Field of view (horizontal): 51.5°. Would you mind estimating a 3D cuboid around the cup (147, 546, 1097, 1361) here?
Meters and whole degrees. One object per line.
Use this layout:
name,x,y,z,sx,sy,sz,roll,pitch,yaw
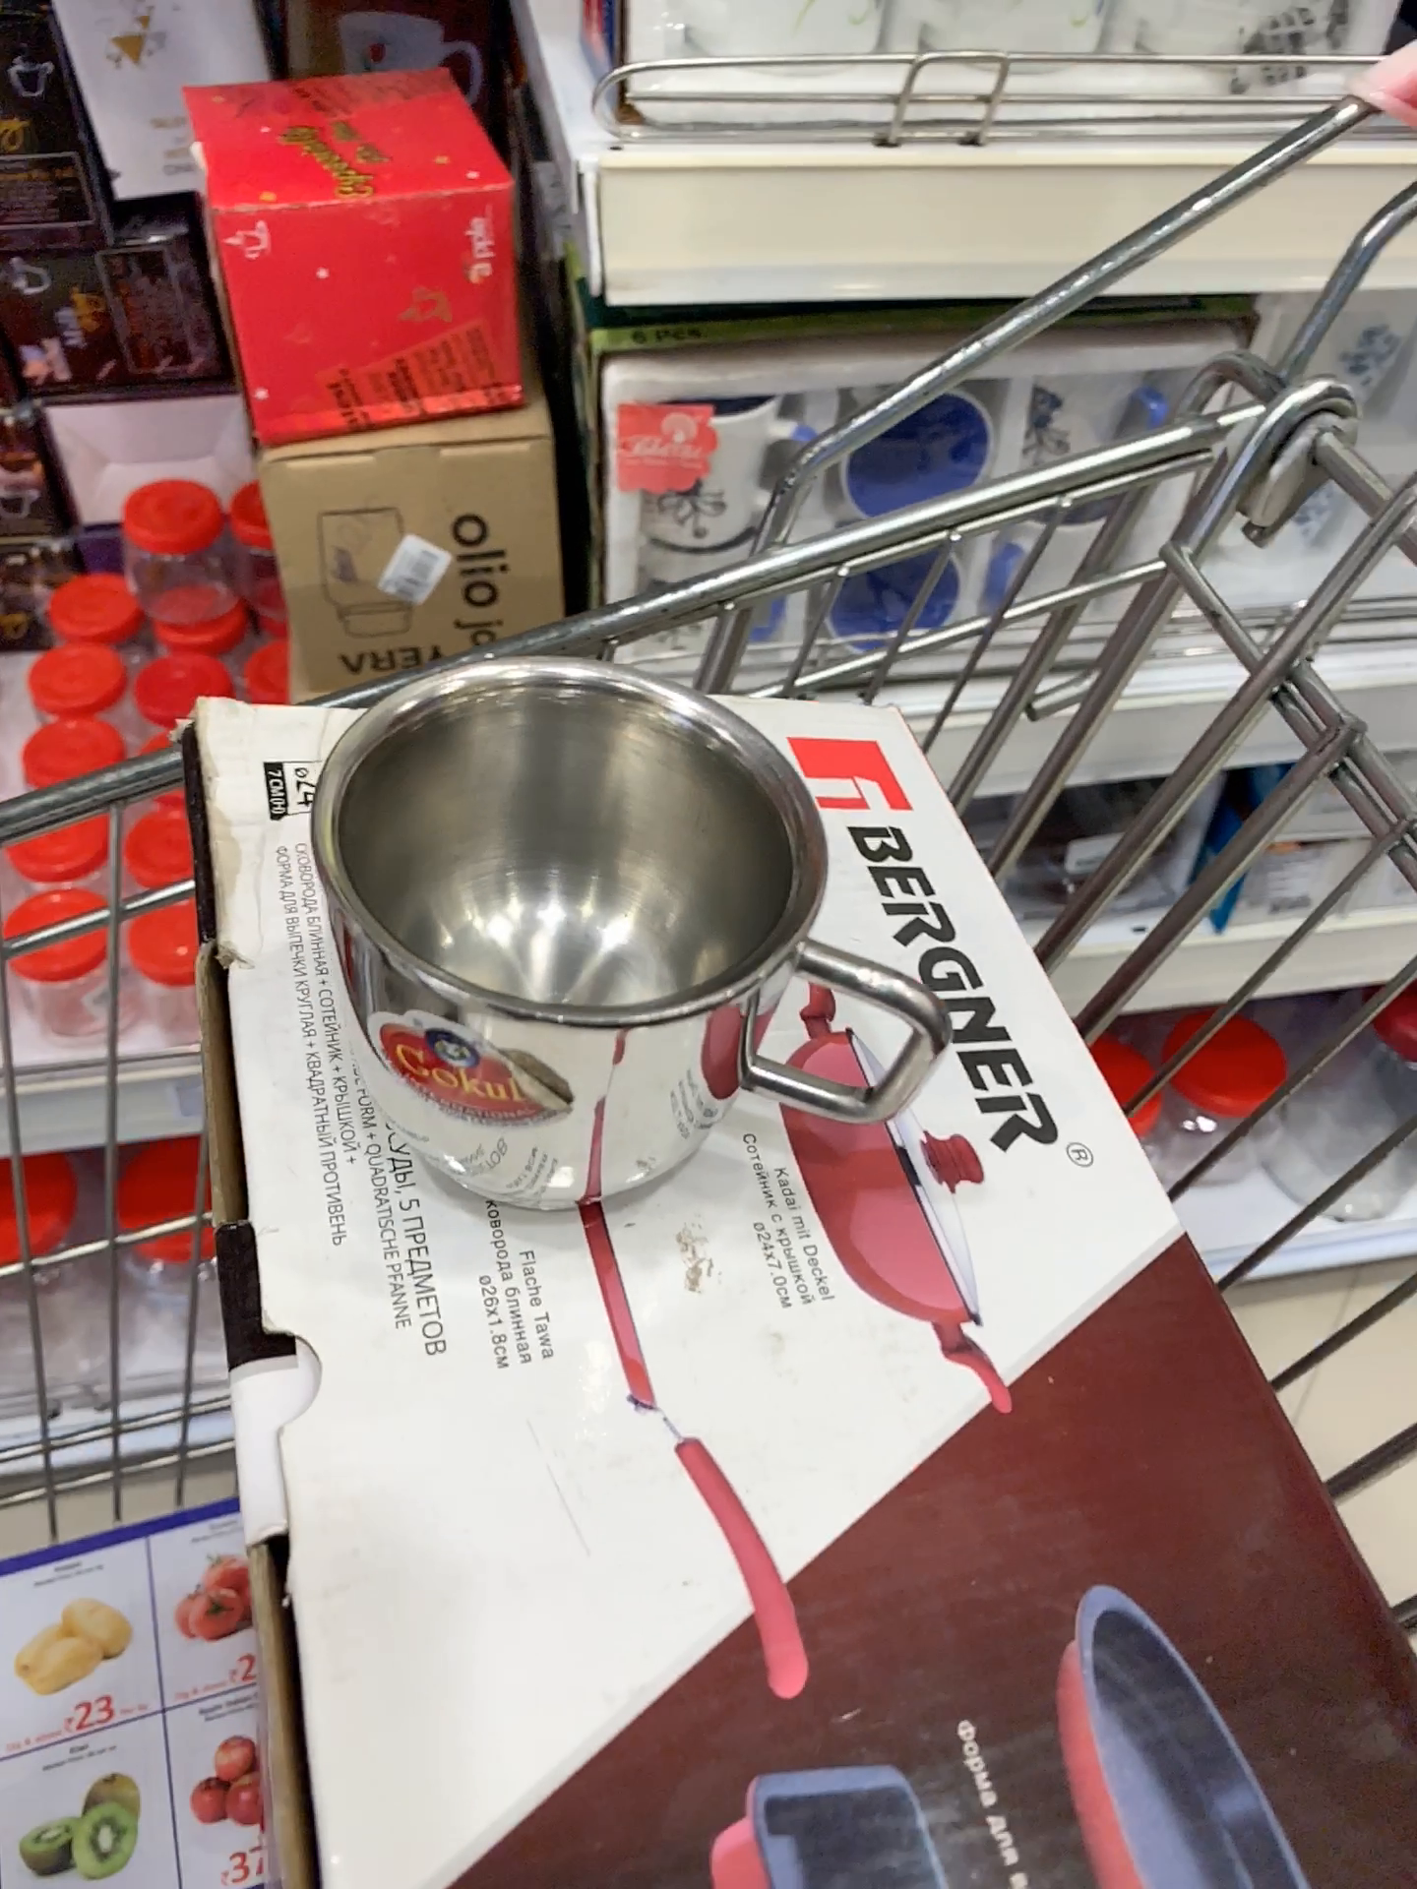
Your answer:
cup,-0.008,-0.001,0.184,0.090,0.050,0.060,18,52,11
